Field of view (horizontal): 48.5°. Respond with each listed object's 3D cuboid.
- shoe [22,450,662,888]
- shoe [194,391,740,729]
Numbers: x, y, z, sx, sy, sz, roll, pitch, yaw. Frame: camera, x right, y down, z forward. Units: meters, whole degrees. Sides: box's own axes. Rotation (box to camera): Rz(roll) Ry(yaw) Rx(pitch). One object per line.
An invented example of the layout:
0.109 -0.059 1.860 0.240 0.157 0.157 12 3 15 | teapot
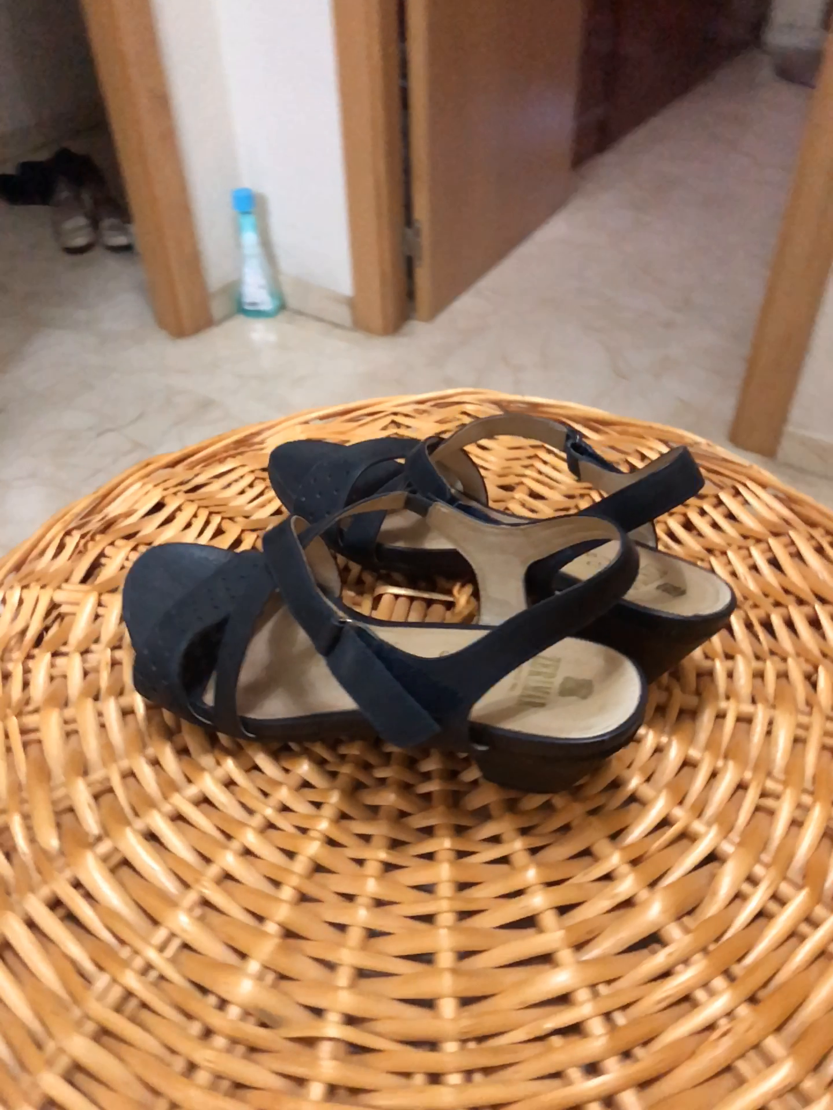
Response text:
-0.033 0.034 0.391 0.248 0.088 0.090 13 43 28 | shoe
0.018 -0.014 0.456 0.247 0.092 0.100 13 32 37 | shoe
